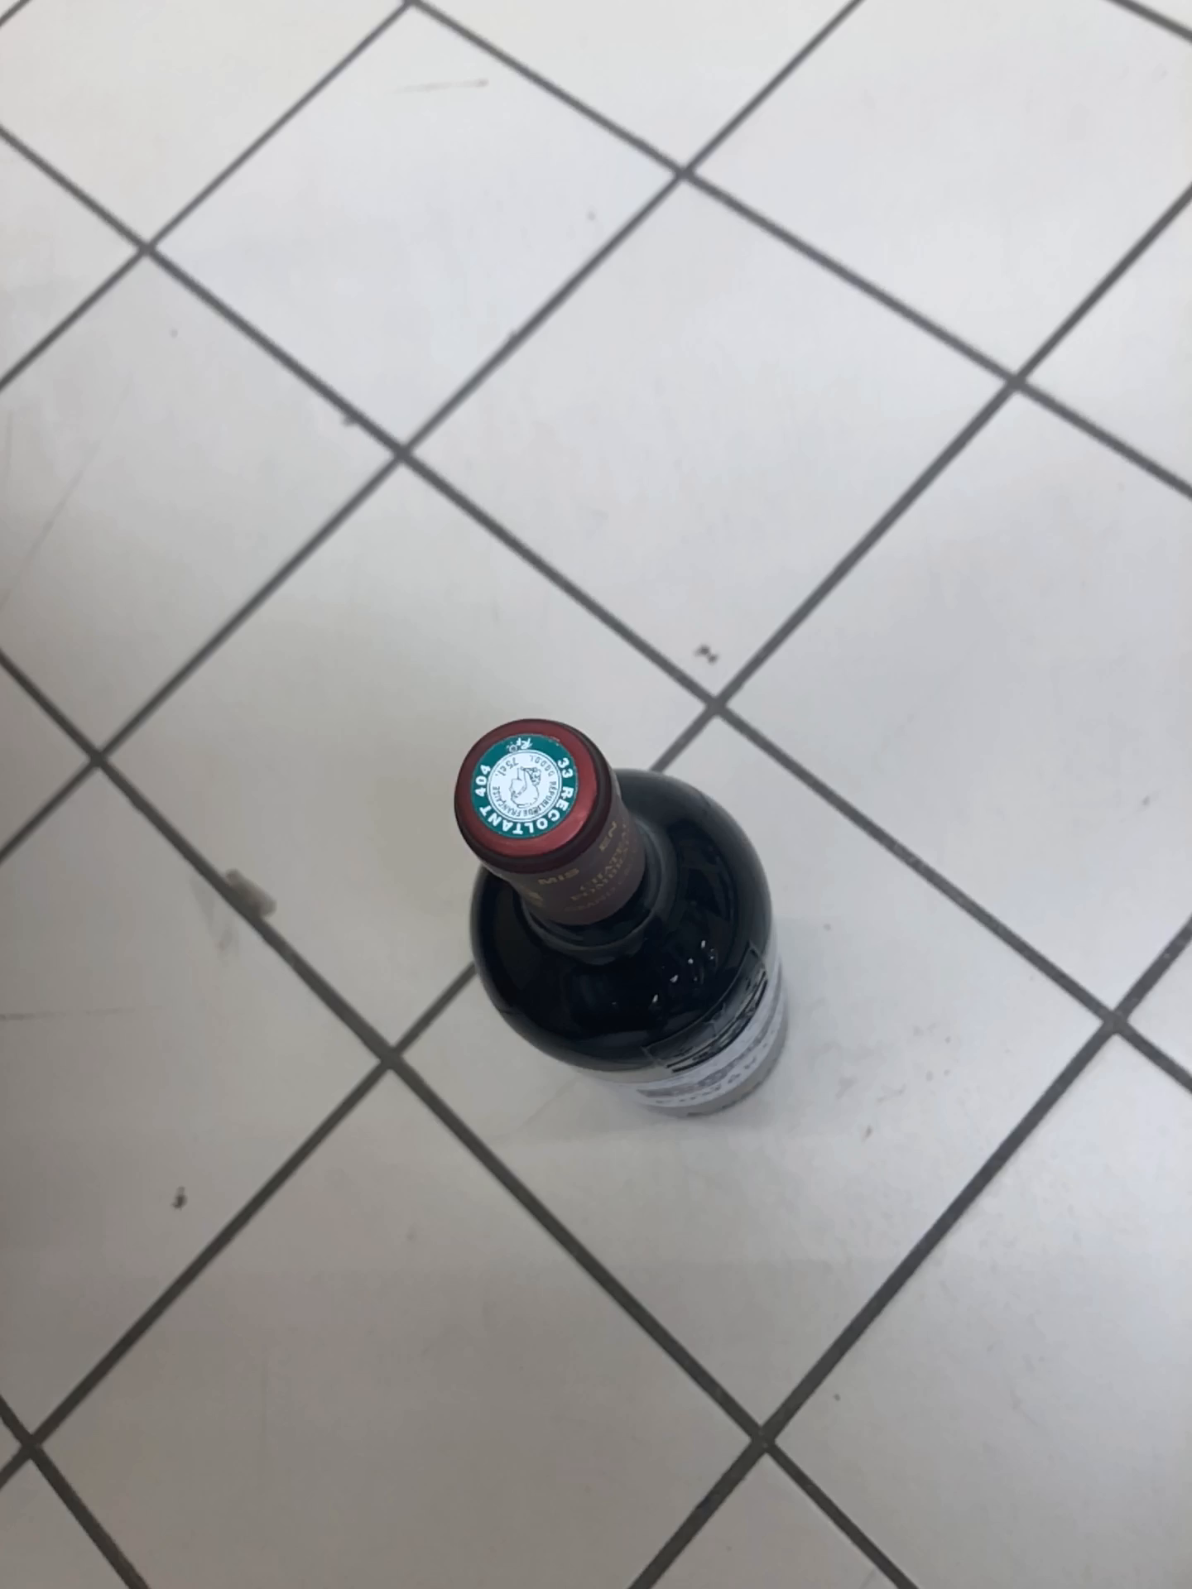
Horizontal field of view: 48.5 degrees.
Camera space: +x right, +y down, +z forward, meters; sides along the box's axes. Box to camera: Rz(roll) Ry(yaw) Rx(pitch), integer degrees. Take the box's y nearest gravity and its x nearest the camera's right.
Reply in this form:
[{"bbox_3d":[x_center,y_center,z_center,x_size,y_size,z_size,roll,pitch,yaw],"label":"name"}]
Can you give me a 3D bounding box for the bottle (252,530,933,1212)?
[{"bbox_3d":[0.020,0.052,0.380,0.090,0.289,0.090,-3,72,9],"label":"bottle"}]
